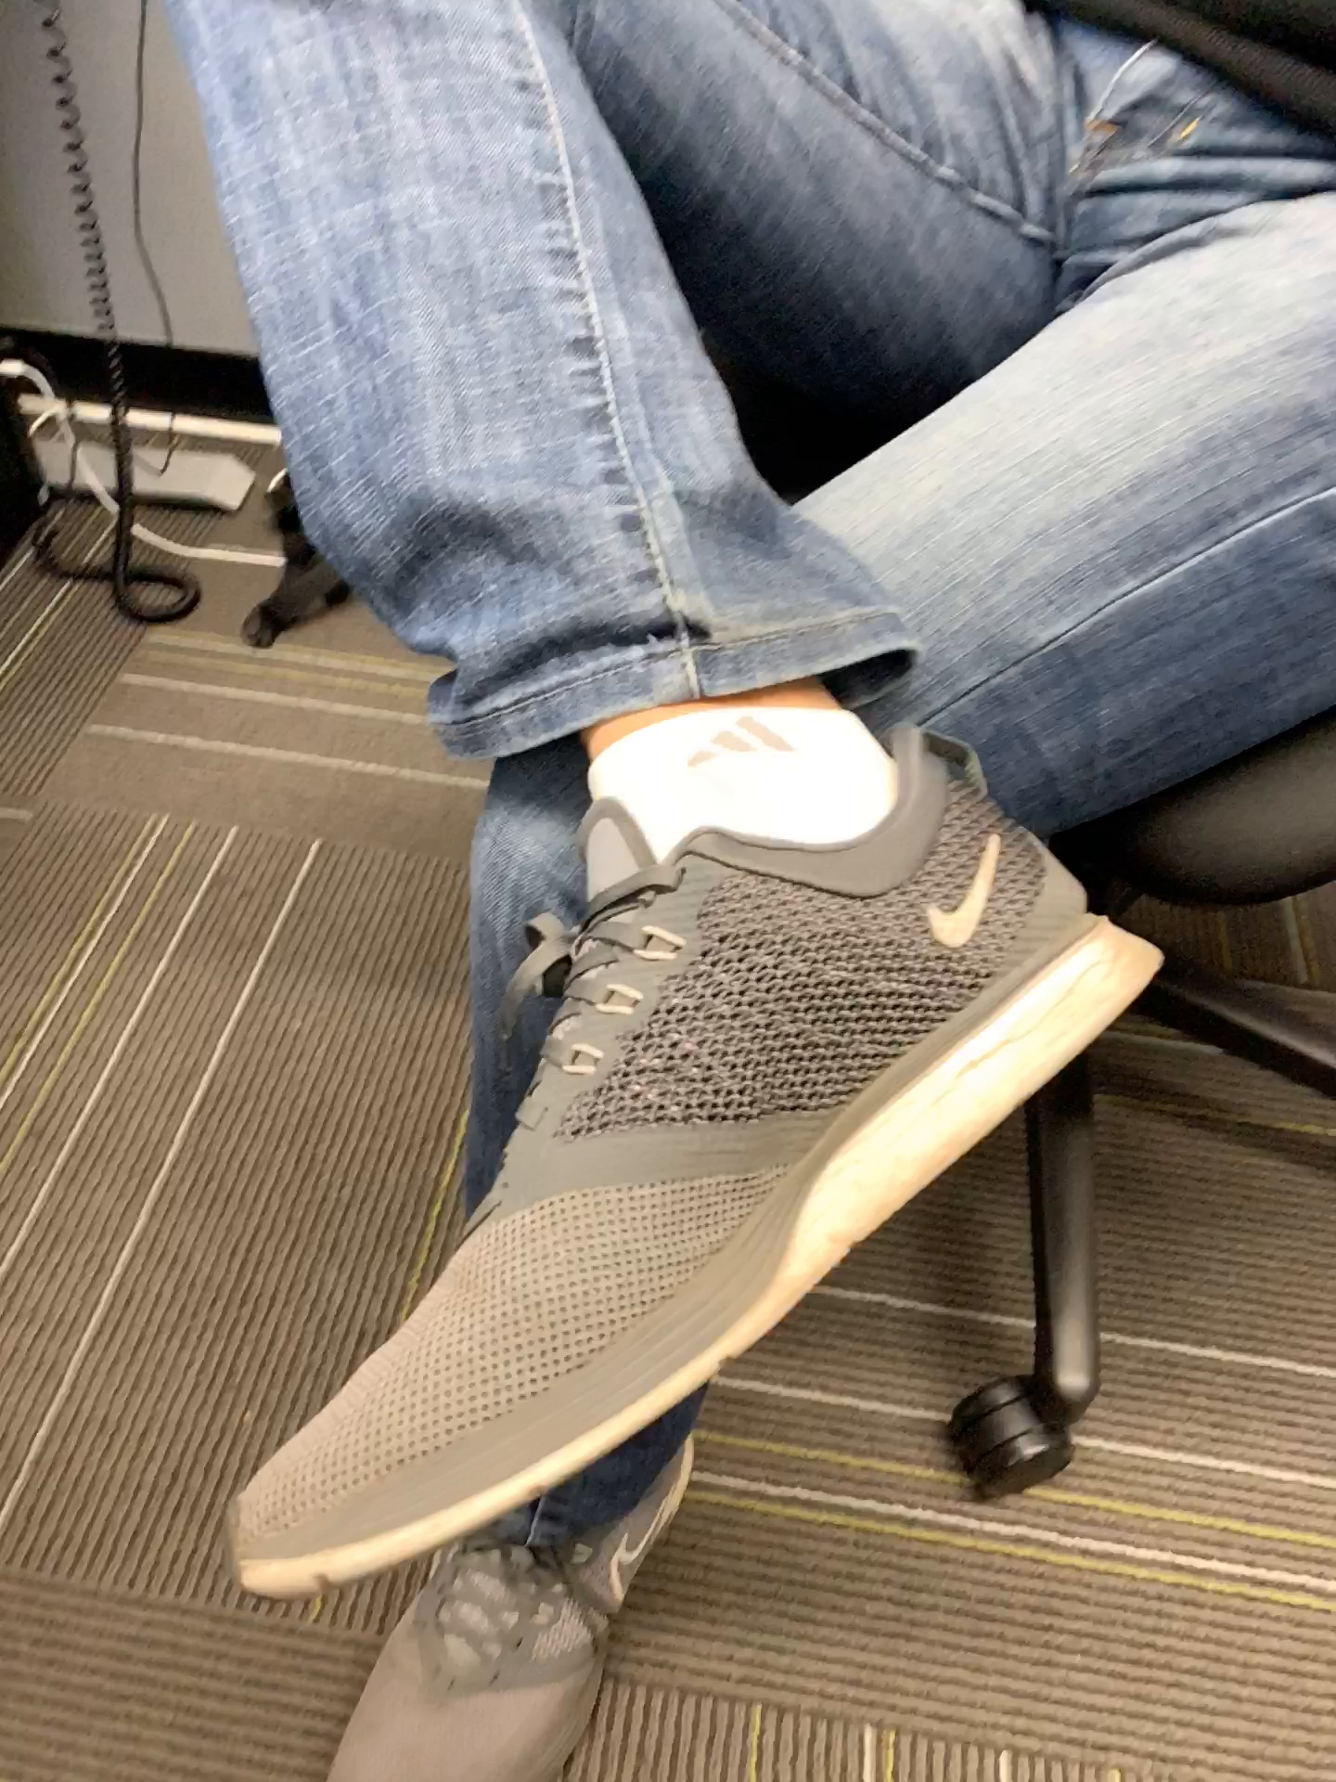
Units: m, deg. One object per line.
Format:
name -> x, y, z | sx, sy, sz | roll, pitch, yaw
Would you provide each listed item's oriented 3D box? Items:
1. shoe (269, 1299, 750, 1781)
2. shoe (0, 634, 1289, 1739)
shoe -> -0.076, 0.394, 0.769 | 0.113, 0.092, 0.288 | 25, 51, 18
shoe -> 0.004, 0.061, 0.379 | 0.295, 0.120, 0.134 | -27, 58, -27
